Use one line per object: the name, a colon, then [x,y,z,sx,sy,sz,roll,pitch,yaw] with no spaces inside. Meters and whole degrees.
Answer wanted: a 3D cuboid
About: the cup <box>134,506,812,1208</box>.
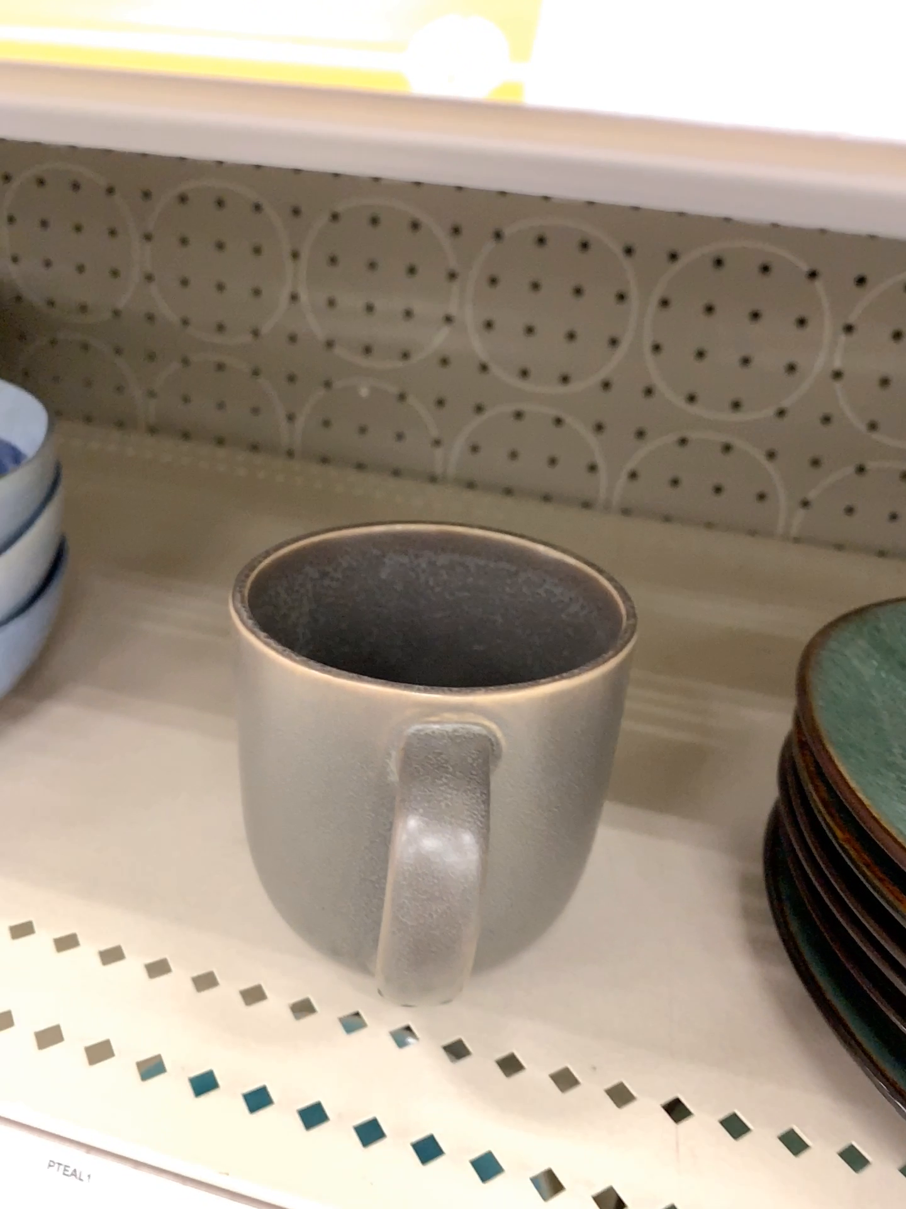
cup: [-0.006,0.041,0.214,0.100,0.080,0.131,1,27,-9]
